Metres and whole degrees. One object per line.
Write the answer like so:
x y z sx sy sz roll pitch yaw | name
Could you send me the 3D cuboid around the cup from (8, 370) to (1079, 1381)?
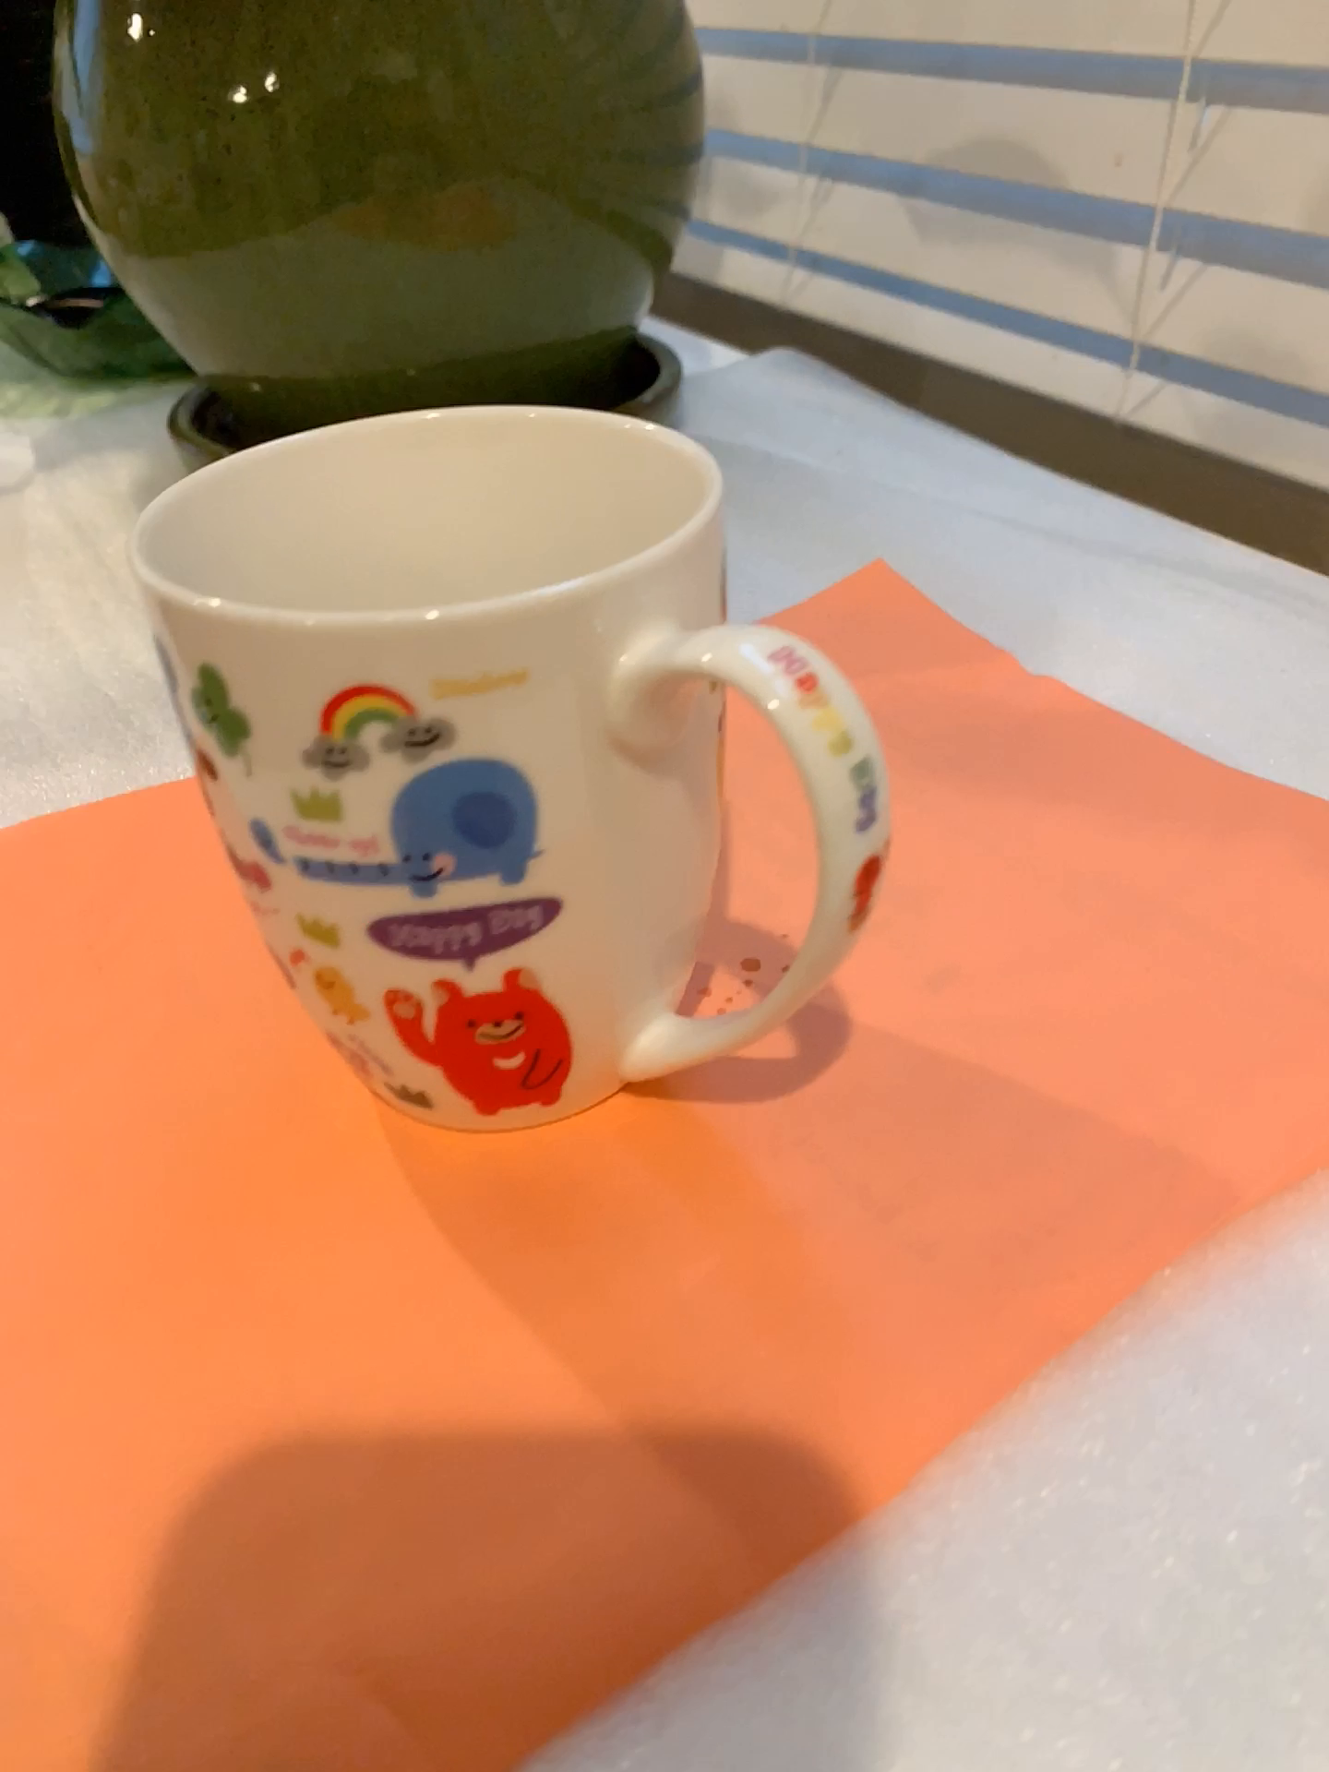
-0.018 -0.015 0.215 0.121 0.089 0.090 27 45 36 | cup
